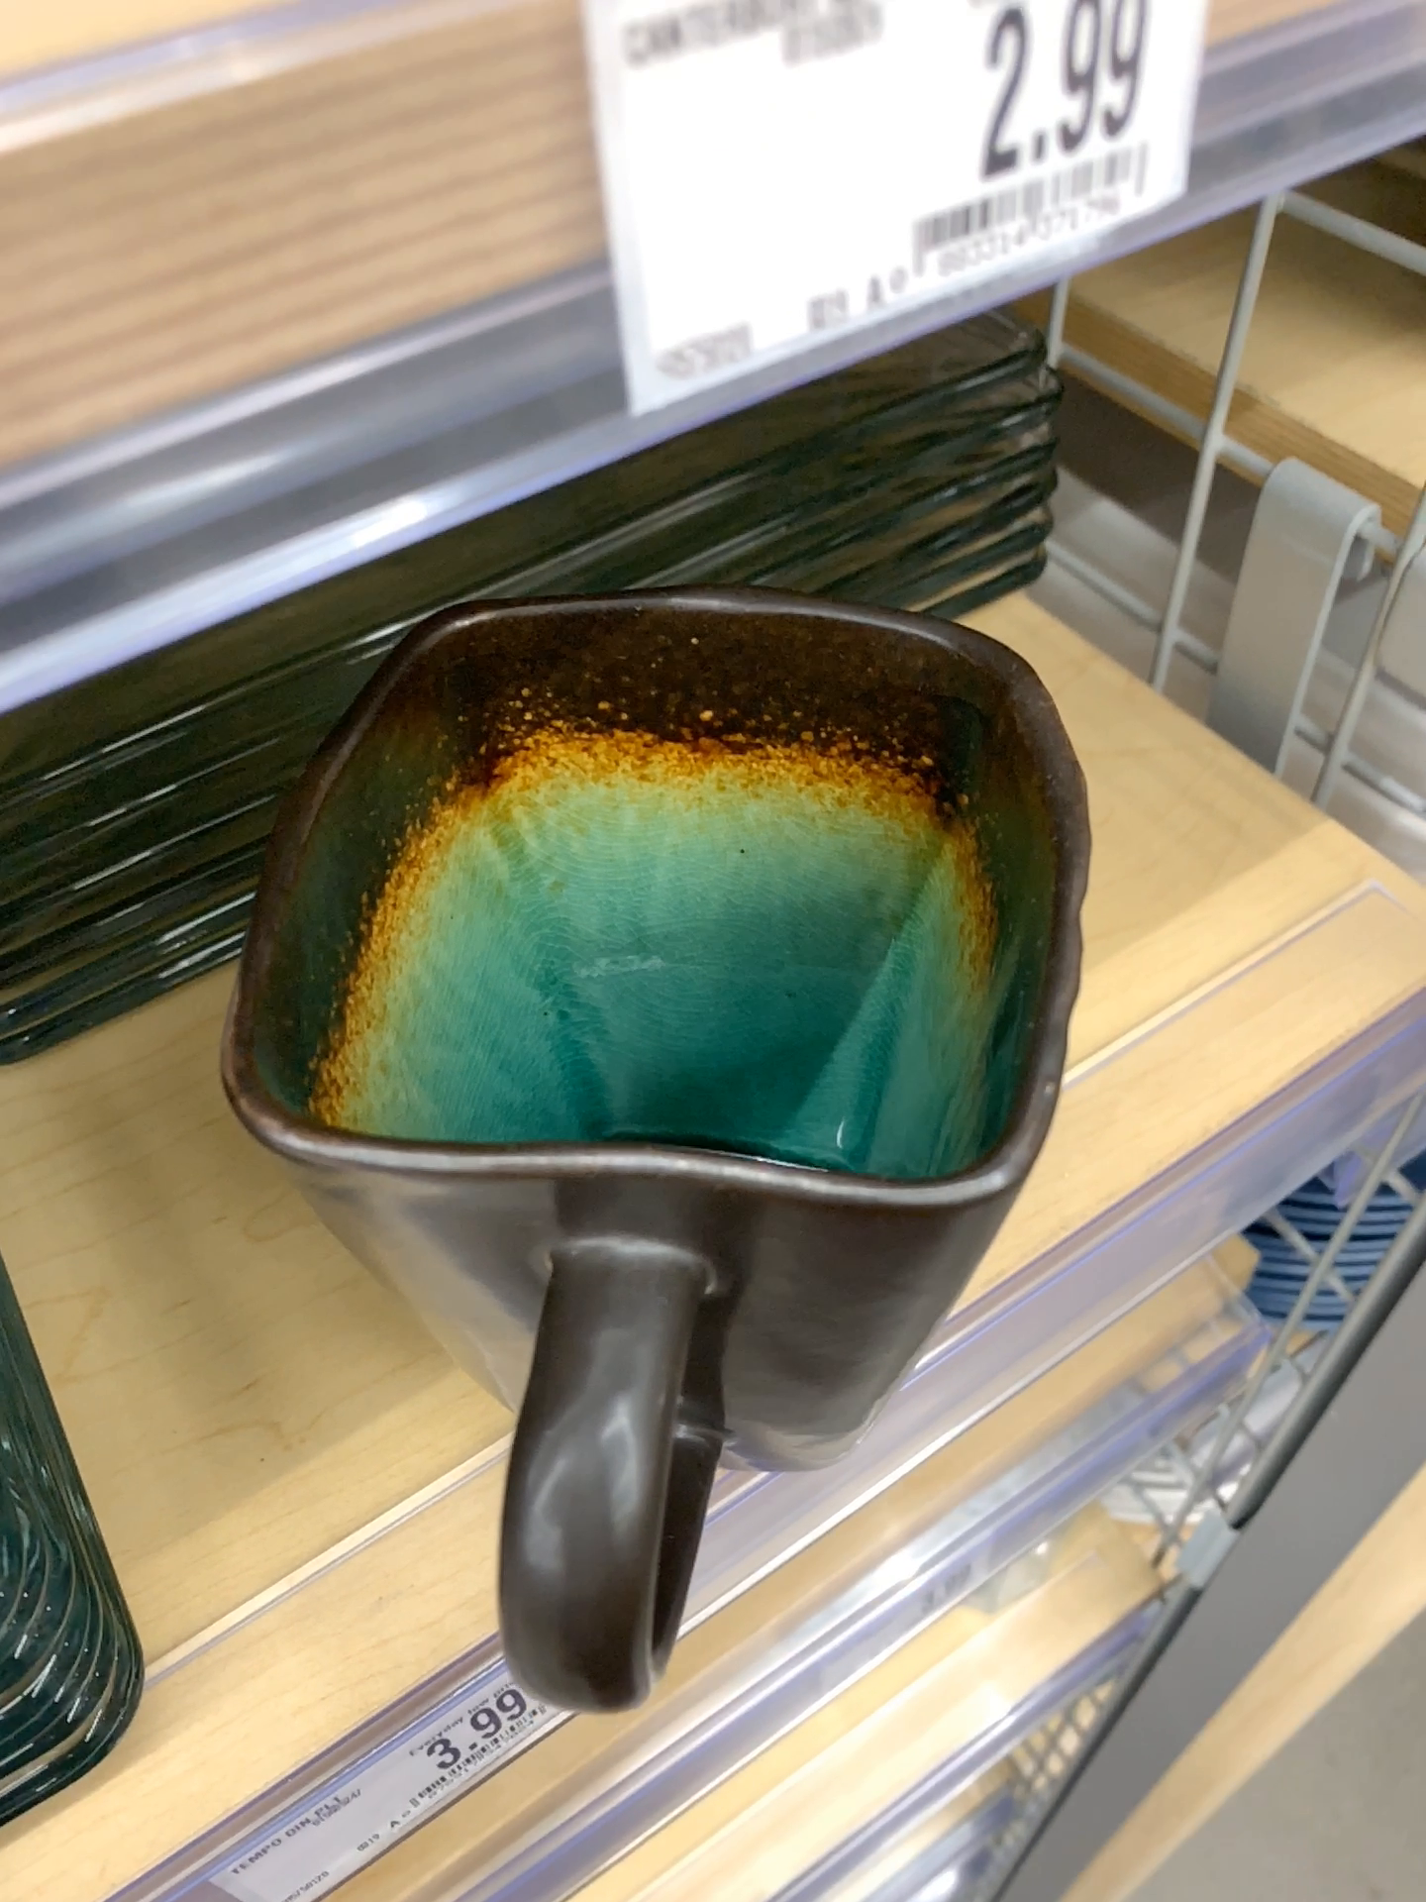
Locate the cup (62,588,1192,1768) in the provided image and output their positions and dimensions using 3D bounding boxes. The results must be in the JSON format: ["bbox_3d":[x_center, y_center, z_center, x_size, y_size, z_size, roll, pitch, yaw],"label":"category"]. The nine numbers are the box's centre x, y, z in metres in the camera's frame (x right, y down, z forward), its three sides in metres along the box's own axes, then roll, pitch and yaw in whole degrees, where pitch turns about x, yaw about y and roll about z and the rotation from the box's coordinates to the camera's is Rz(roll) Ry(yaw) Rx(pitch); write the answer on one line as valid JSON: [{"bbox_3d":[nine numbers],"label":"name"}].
[{"bbox_3d":[-0.003,0.028,0.188,0.088,0.099,0.108,2,49,4],"label":"cup"}]
